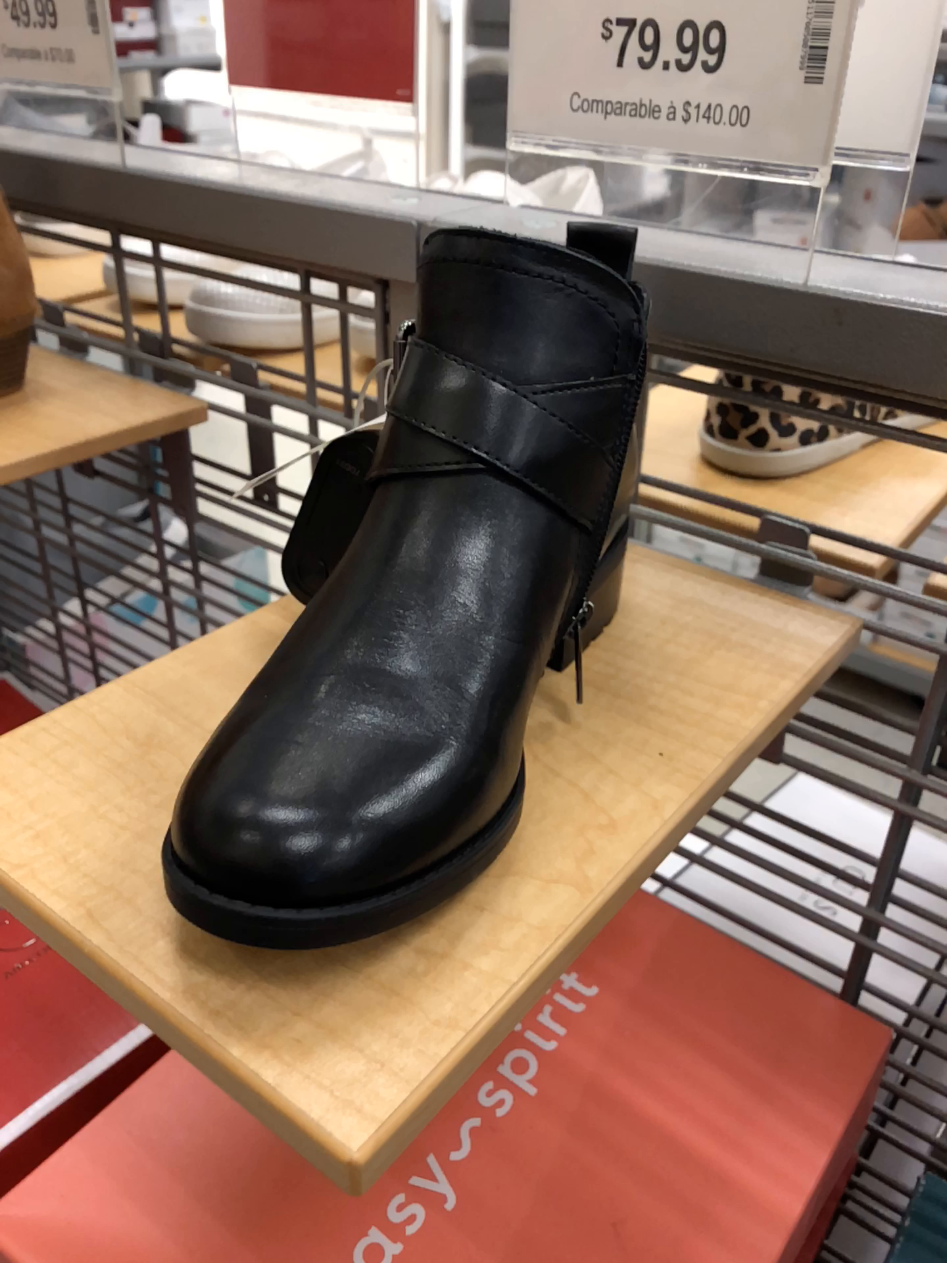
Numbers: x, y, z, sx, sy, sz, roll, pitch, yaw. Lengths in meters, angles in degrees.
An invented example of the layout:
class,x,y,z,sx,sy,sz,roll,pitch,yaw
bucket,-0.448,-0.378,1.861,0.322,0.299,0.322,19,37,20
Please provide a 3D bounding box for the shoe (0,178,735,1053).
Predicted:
class,x,y,z,sx,sy,sz,roll,pitch,yaw
shoe,-0.005,-0.033,0.285,0.090,0.133,0.222,14,33,19
